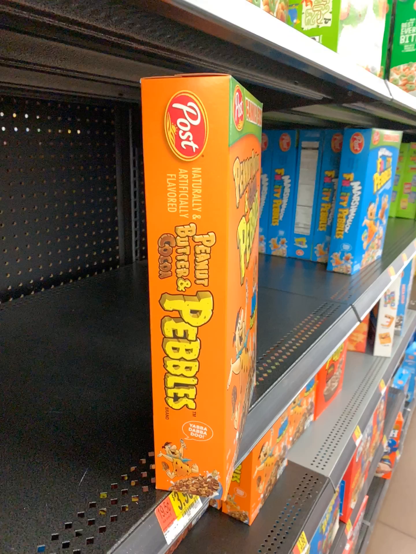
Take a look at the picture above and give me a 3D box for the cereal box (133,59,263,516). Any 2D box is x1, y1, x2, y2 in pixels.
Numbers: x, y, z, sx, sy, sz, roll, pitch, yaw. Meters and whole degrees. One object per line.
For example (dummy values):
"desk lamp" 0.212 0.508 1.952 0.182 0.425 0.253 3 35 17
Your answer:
"cereal box" 0.006 0.002 0.402 0.060 0.339 0.201 3 17 13
